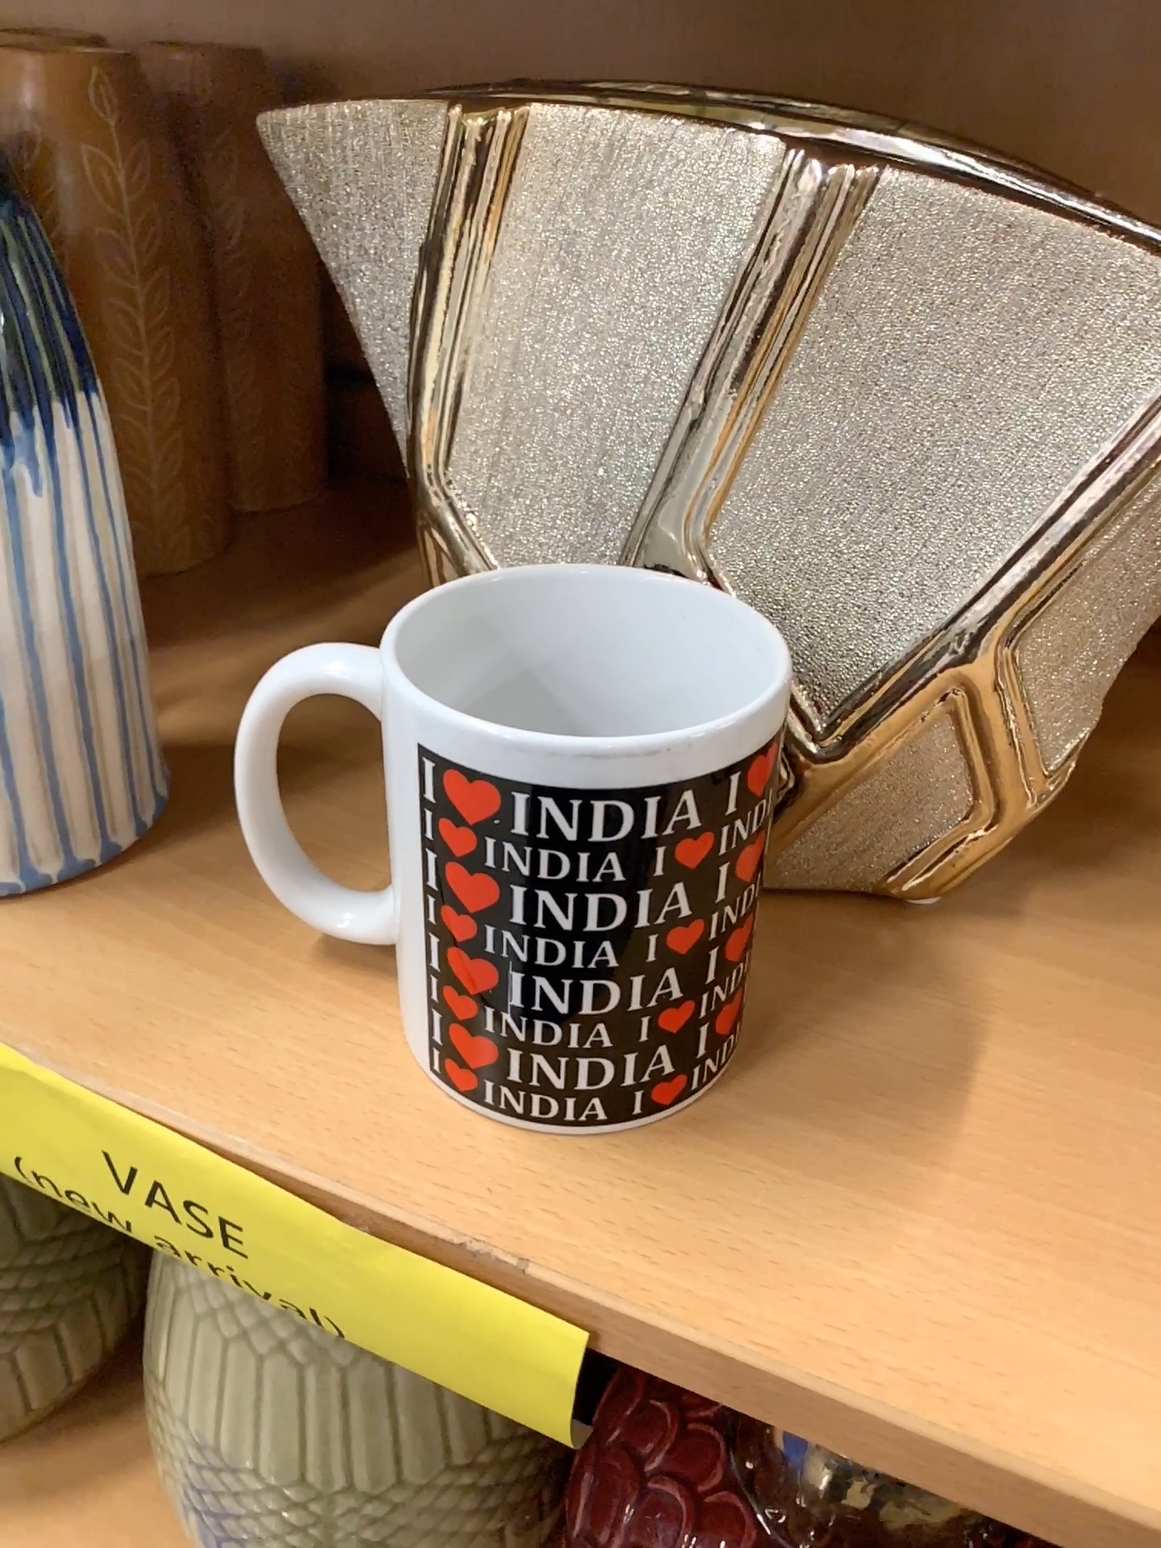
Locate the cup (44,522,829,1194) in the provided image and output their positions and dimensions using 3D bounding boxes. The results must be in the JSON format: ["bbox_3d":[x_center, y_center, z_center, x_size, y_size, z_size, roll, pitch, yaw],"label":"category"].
[{"bbox_3d":[-0.021,0.010,0.256,0.130,0.090,0.090,8,30,9],"label":"cup"}]
